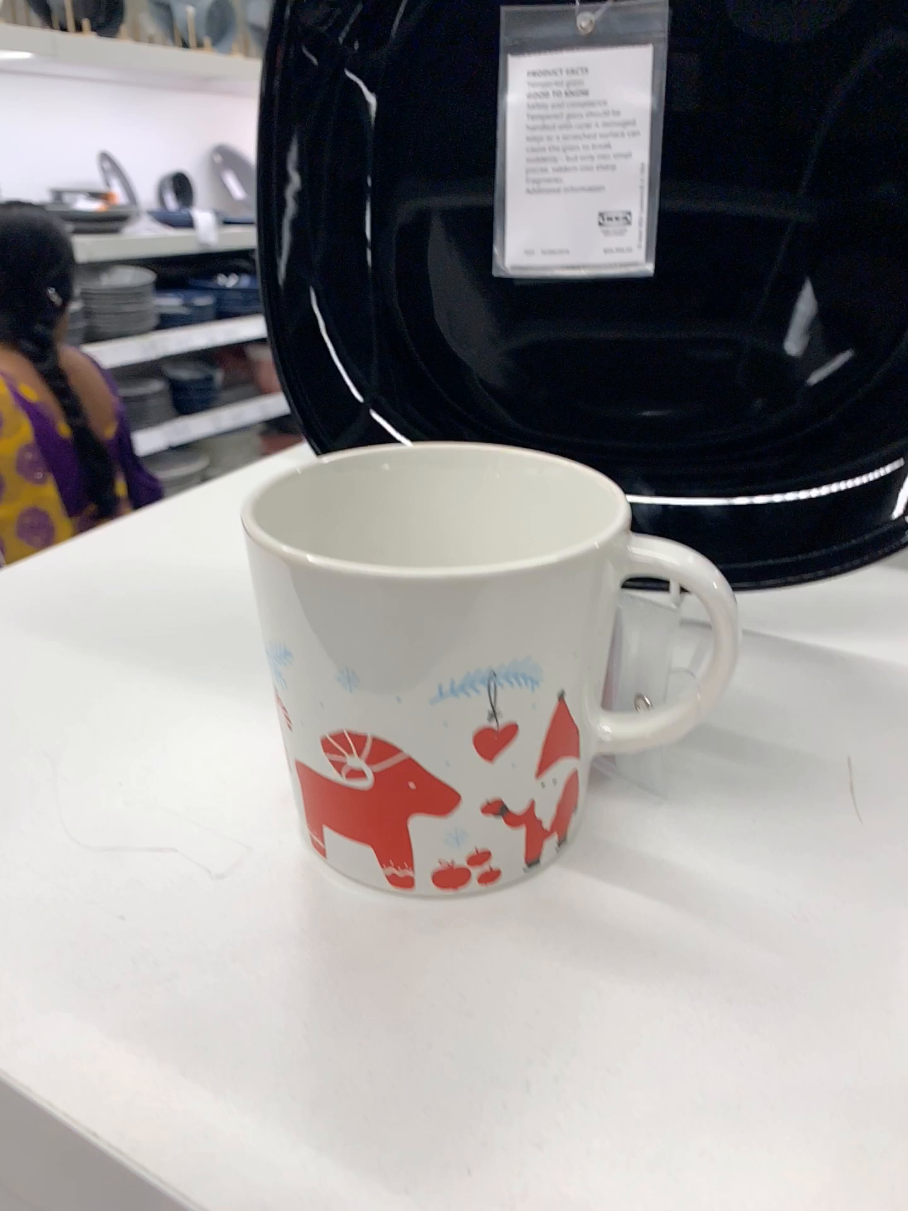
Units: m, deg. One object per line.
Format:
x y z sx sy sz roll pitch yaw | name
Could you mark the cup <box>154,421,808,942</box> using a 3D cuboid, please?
0.007 0.011 0.232 0.120 0.090 0.090 2 25 4 | cup
